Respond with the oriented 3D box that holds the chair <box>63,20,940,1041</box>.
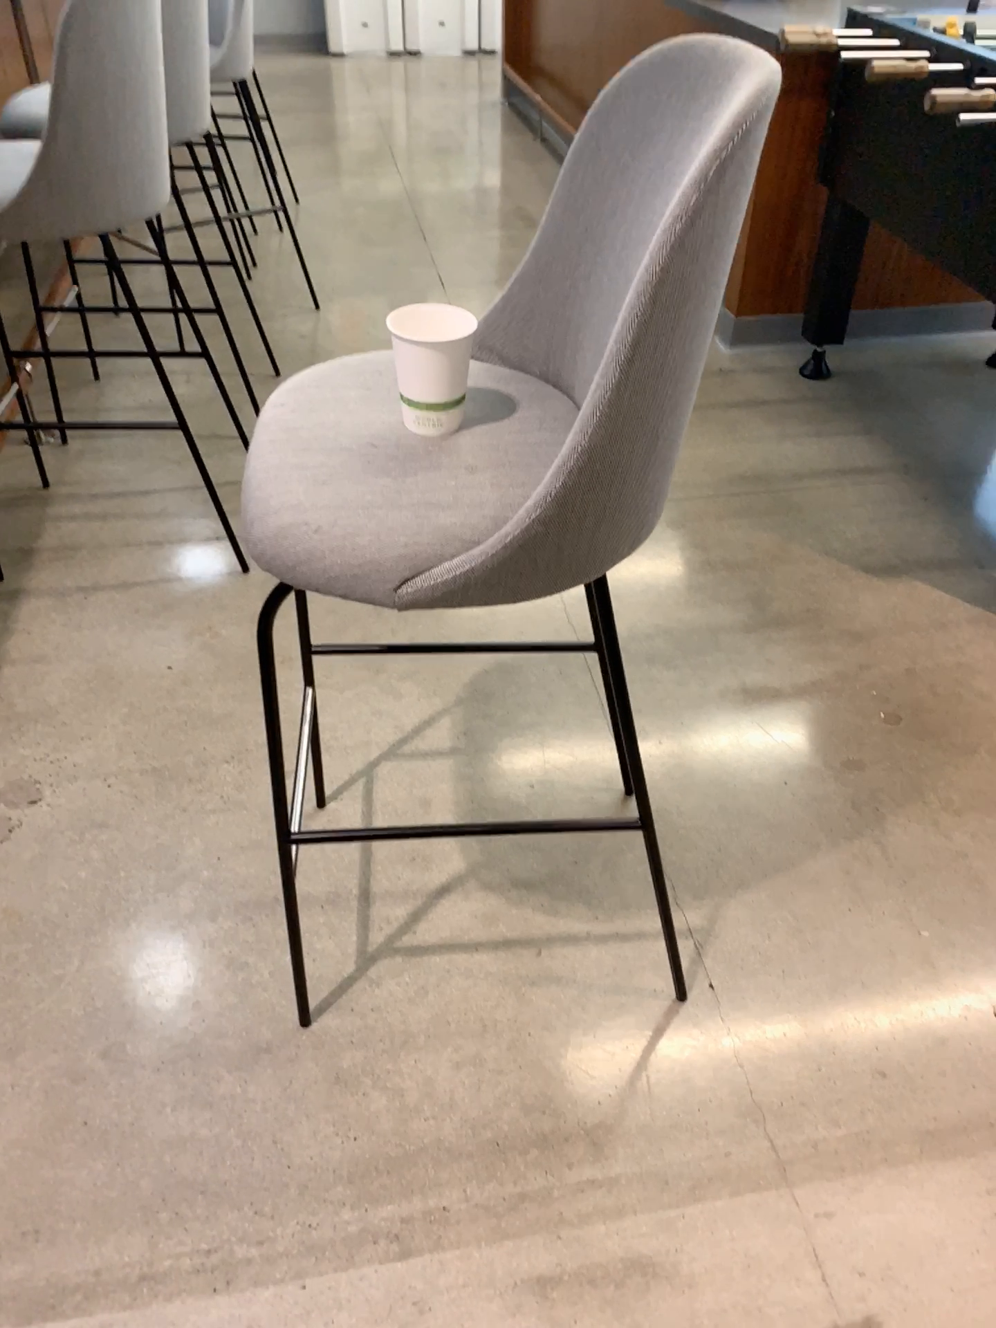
[{"bbox_3d":[-0.011,-0.089,1.171,0.570,1.054,0.473,-3,39,-4],"label":"chair"}]
